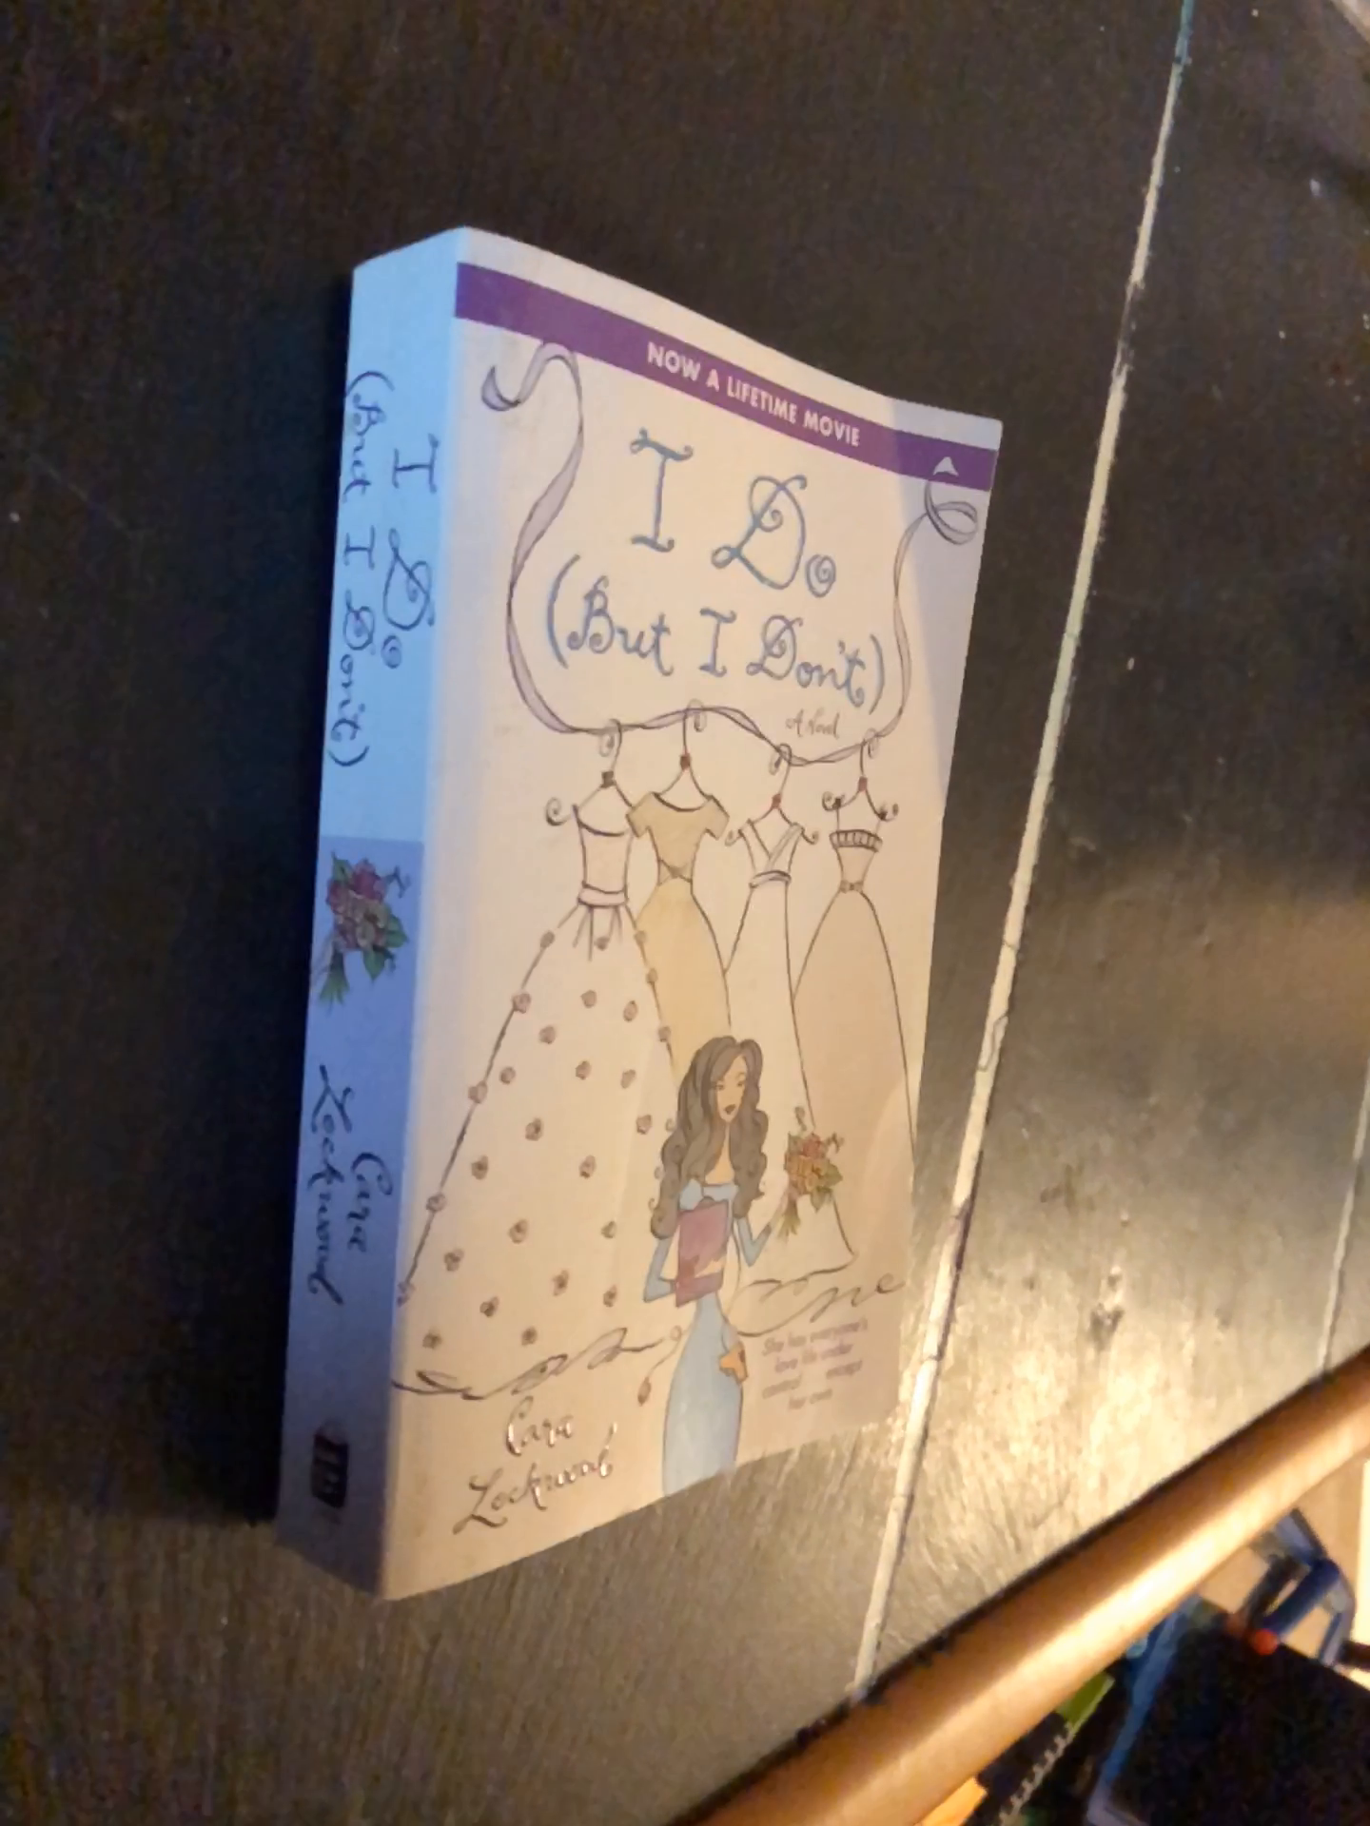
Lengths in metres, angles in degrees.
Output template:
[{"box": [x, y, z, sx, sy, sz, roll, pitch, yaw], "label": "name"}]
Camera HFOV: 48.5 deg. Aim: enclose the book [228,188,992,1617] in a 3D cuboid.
[{"box": [-0.004, 0.000, 0.226, 0.111, 0.032, 0.164, 2, 93, -47], "label": "book"}]
